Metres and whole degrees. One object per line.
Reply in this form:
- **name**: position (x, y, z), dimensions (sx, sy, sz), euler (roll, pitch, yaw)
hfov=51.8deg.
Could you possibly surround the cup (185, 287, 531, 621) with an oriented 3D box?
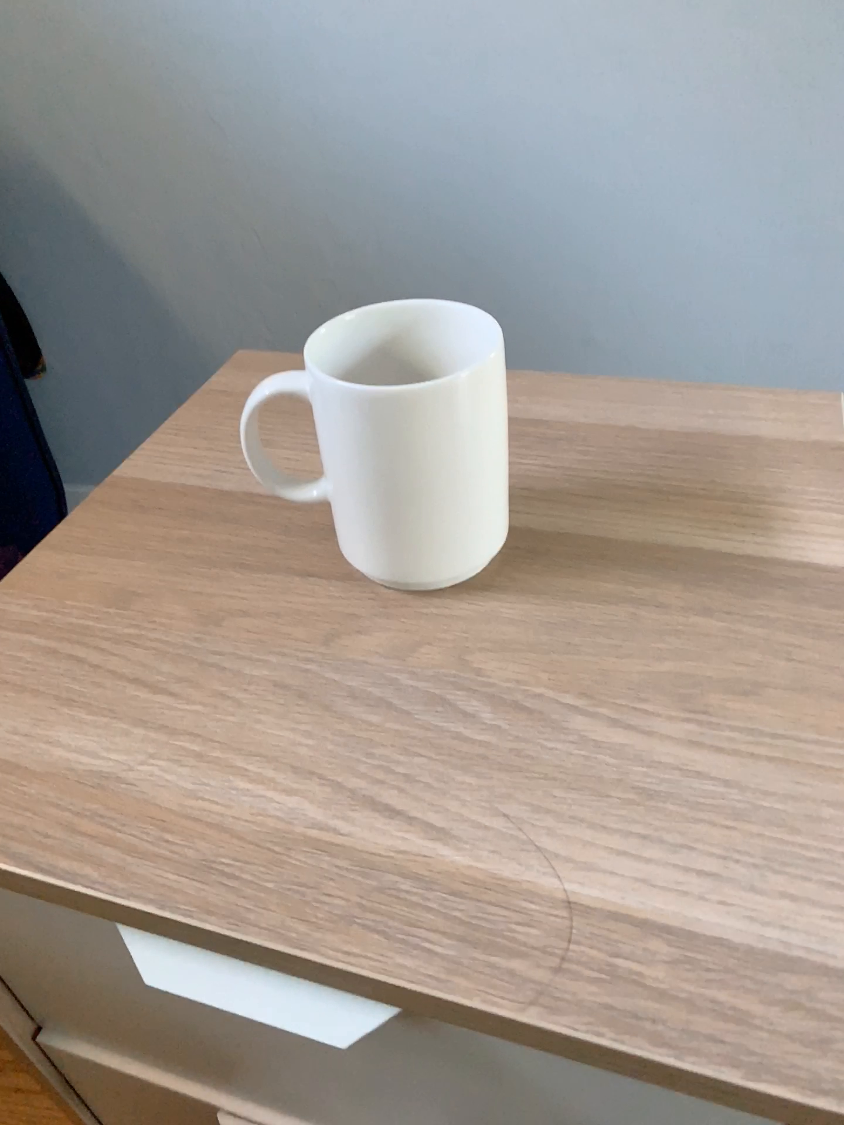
- **cup**: position (-0.021, -0.050, 0.422), dimensions (0.140, 0.129, 0.082), euler (-3, 39, 4)

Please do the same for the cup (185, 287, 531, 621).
- **cup**: position (-0.021, -0.050, 0.422), dimensions (0.140, 0.129, 0.082), euler (-3, 39, 4)
